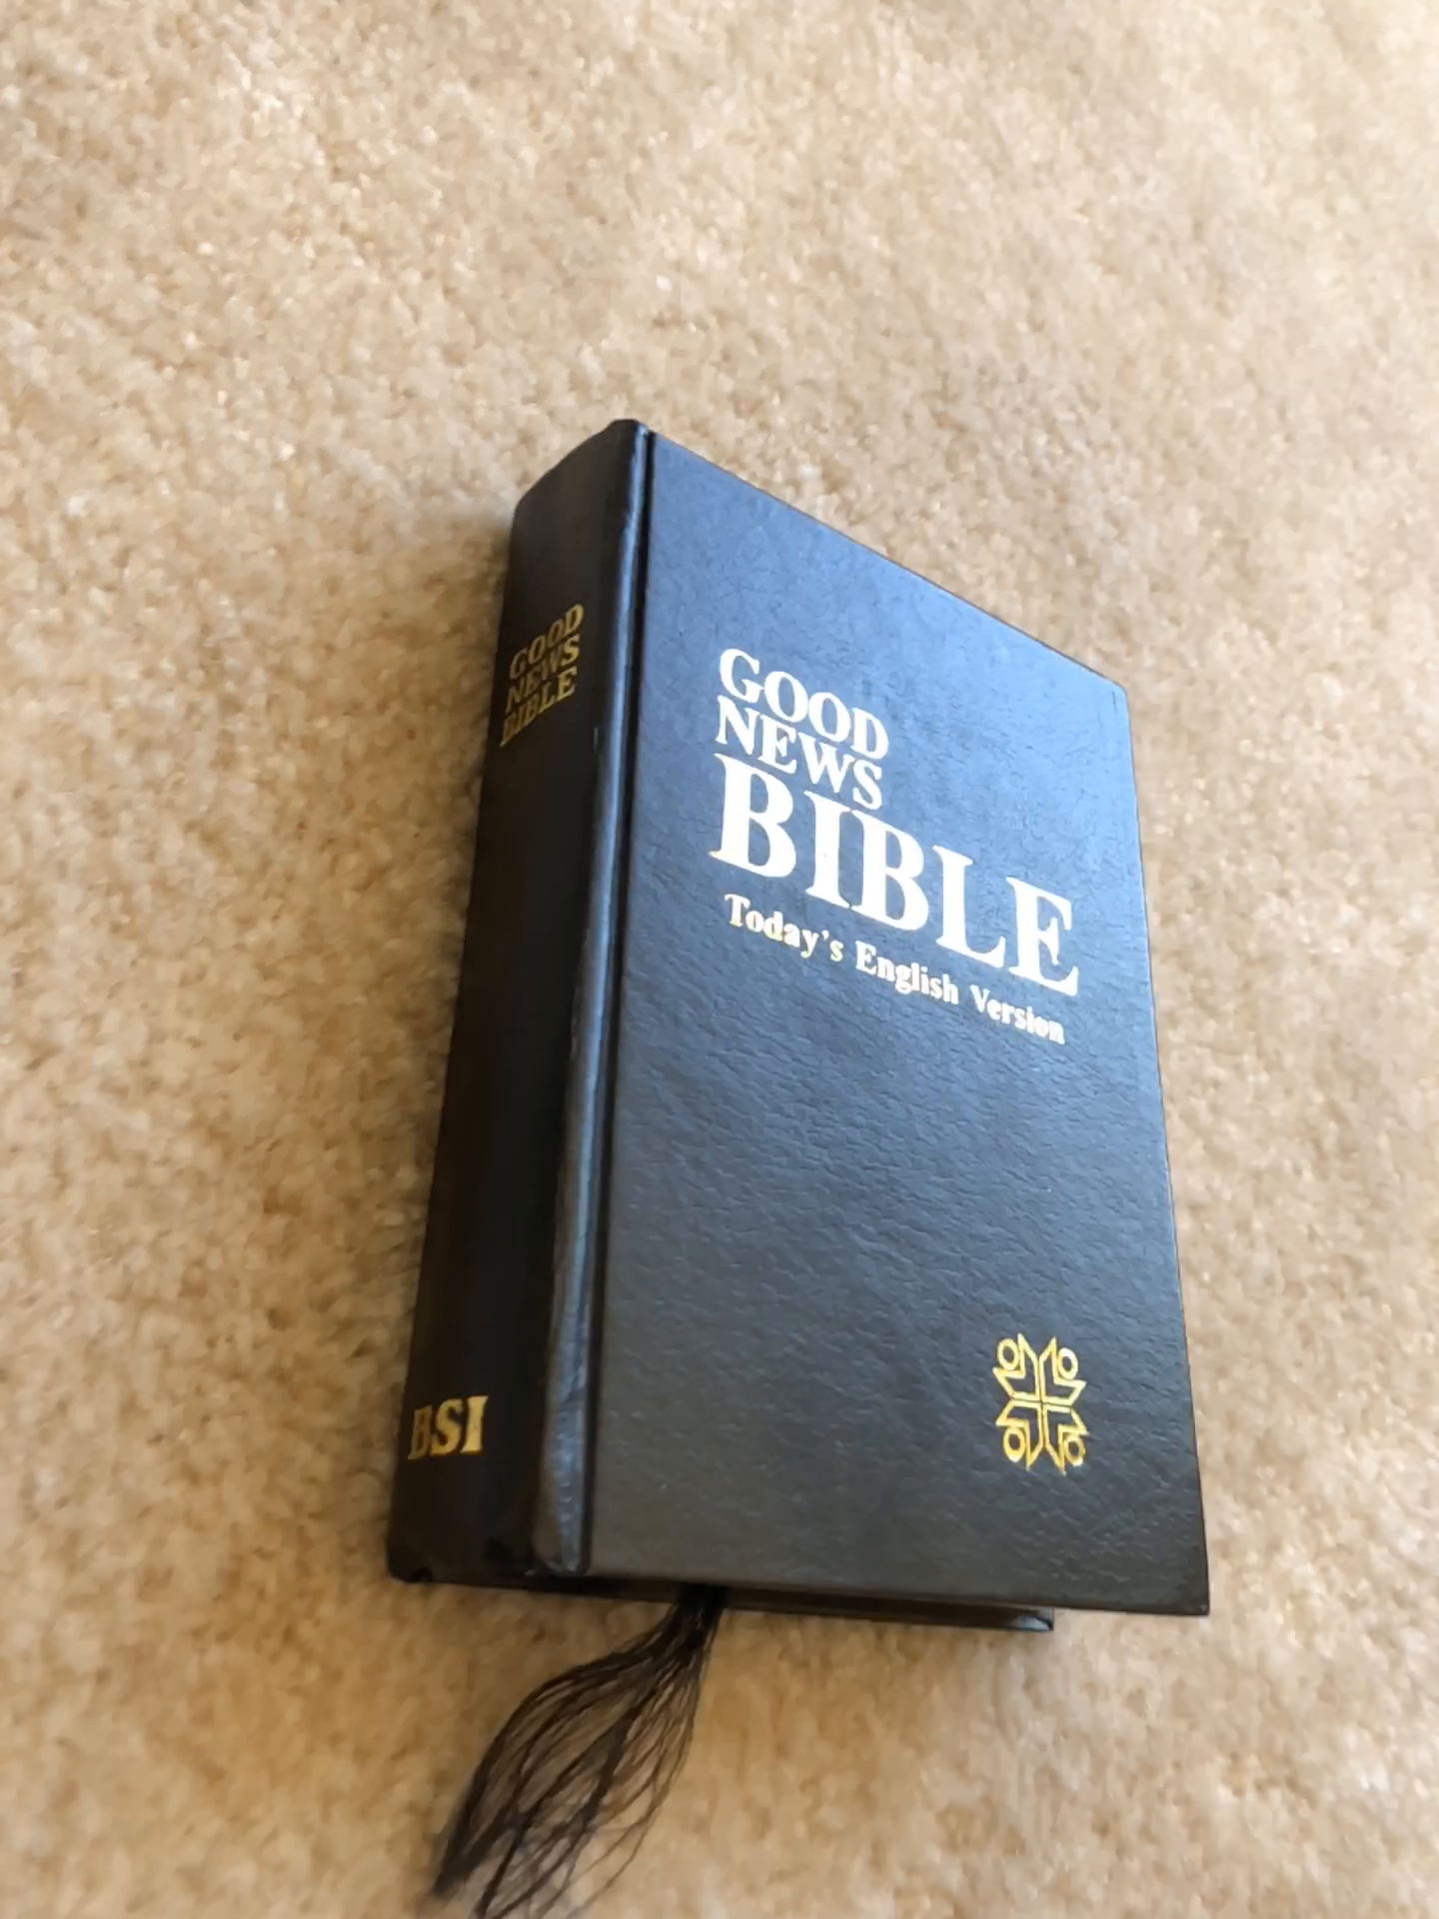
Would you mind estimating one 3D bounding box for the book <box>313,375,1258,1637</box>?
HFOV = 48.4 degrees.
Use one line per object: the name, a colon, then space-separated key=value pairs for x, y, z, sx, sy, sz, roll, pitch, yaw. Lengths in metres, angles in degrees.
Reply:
book: x=0.016 y=0.012 z=0.242 sx=0.125 sy=0.040 sz=0.160 roll=19 pitch=59 yaw=-32
